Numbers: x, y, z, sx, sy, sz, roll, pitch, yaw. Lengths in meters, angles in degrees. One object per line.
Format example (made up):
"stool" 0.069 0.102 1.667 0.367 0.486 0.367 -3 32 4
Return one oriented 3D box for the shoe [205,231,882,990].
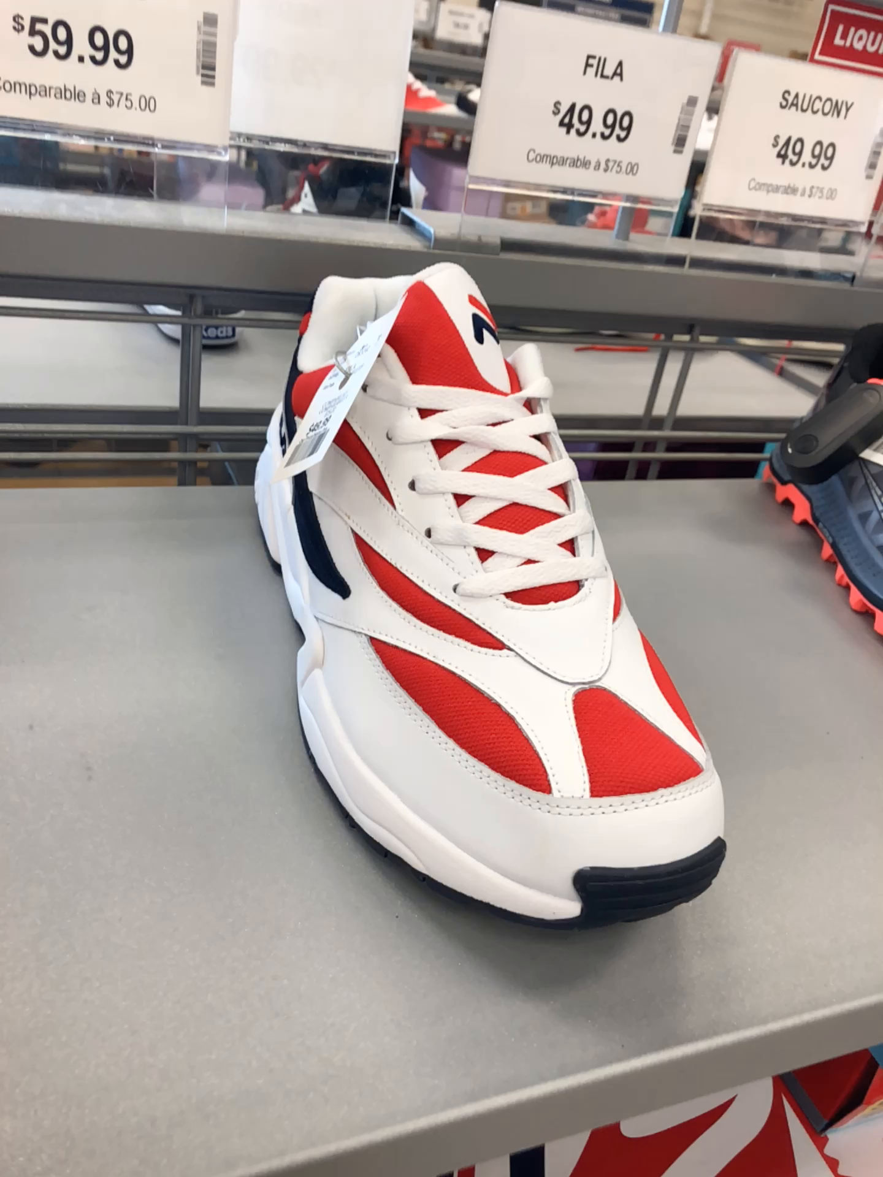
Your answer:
"shoe" 0.000 -0.024 0.356 0.120 0.129 0.272 -3 34 -23
